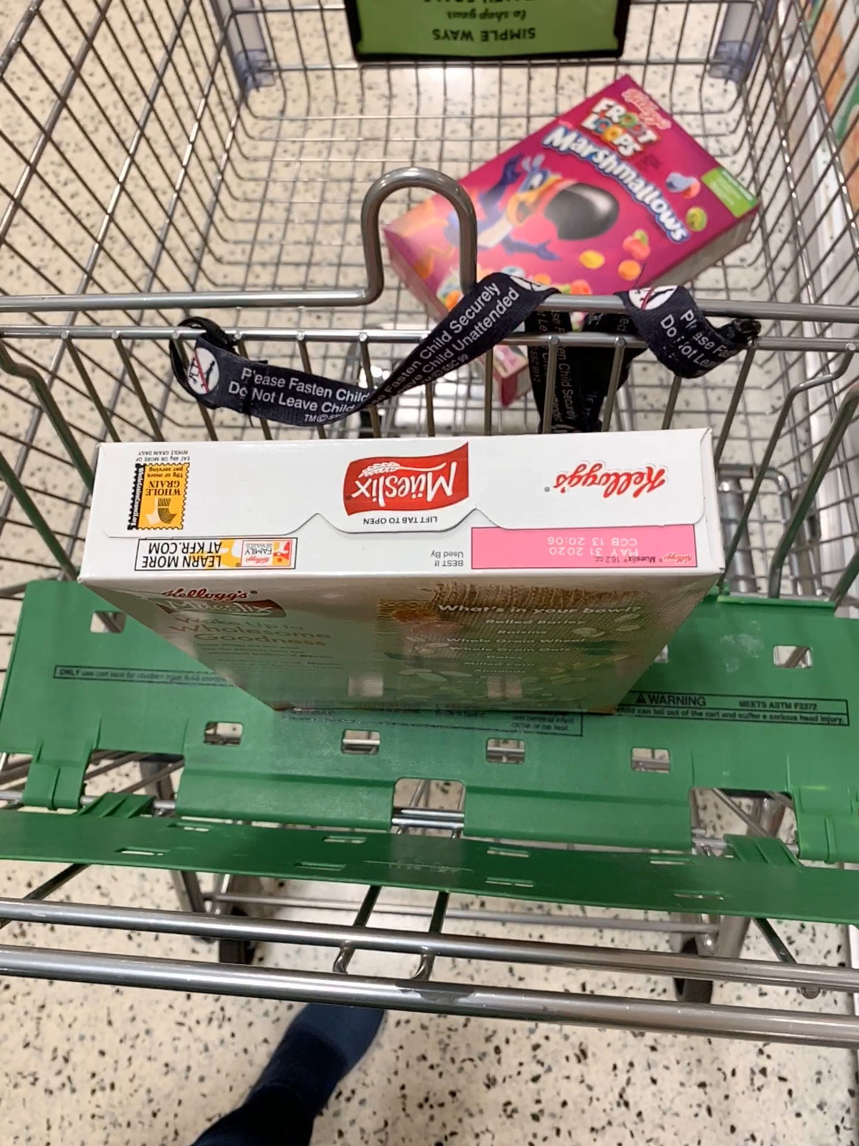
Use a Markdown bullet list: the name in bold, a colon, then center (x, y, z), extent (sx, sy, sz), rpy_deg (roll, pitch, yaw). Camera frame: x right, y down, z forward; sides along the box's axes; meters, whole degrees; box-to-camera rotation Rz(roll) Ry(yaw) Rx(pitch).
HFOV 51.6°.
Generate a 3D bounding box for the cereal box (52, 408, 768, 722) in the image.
- **cereal box**: center (0.001, 0.015, 0.361), extent (0.190, 0.249, 0.050), rpy_deg (1, 72, 4)
